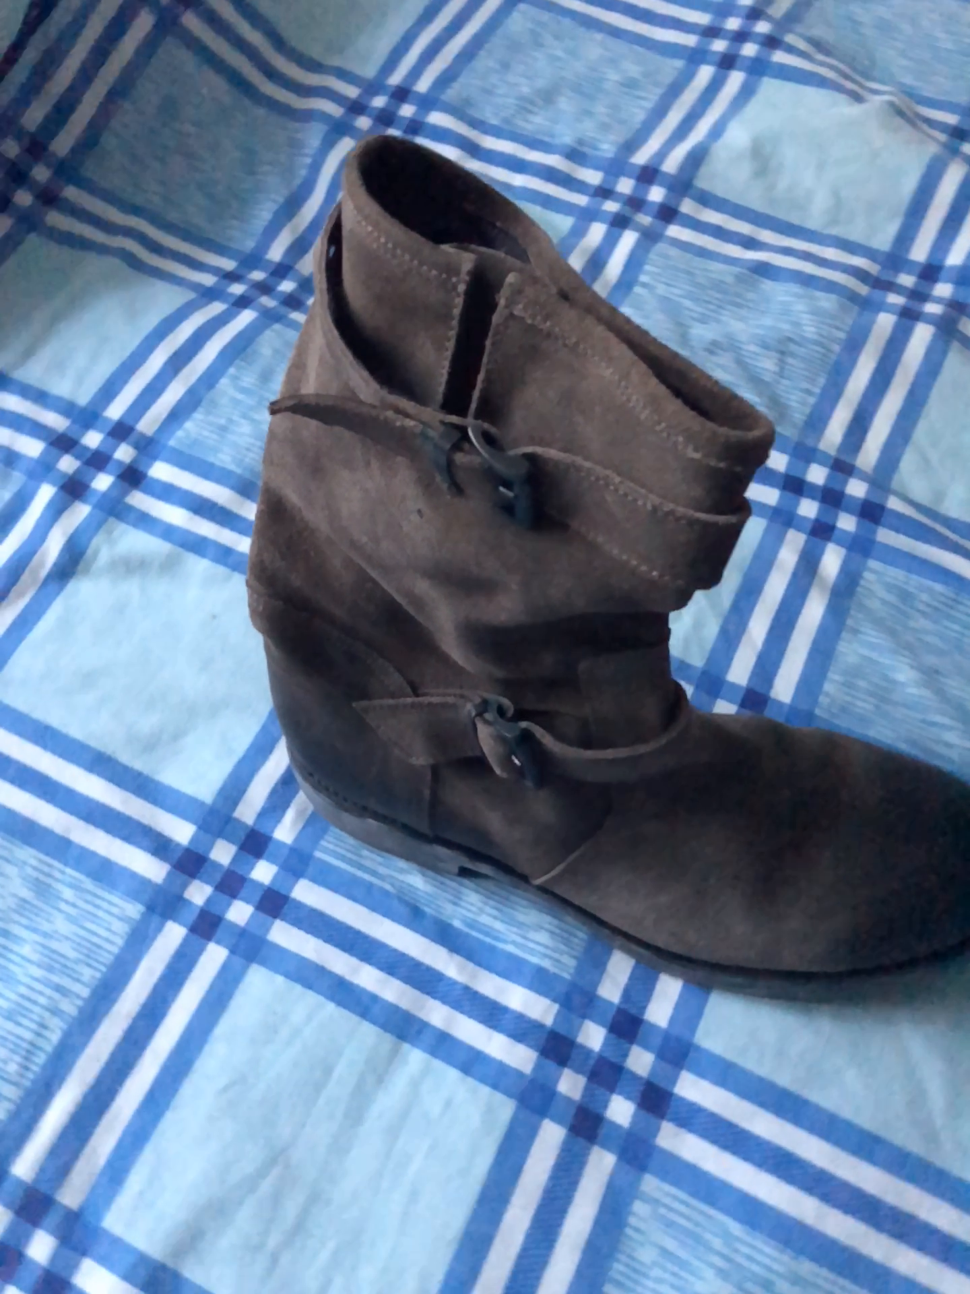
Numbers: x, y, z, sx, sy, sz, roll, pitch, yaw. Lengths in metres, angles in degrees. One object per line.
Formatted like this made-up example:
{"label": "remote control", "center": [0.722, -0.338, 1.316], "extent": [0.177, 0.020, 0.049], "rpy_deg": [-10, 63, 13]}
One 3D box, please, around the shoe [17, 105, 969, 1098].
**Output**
{"label": "shoe", "center": [0.068, 0.015, 0.373], "extent": [0.320, 0.289, 0.130], "rpy_deg": [16, 62, 10]}
